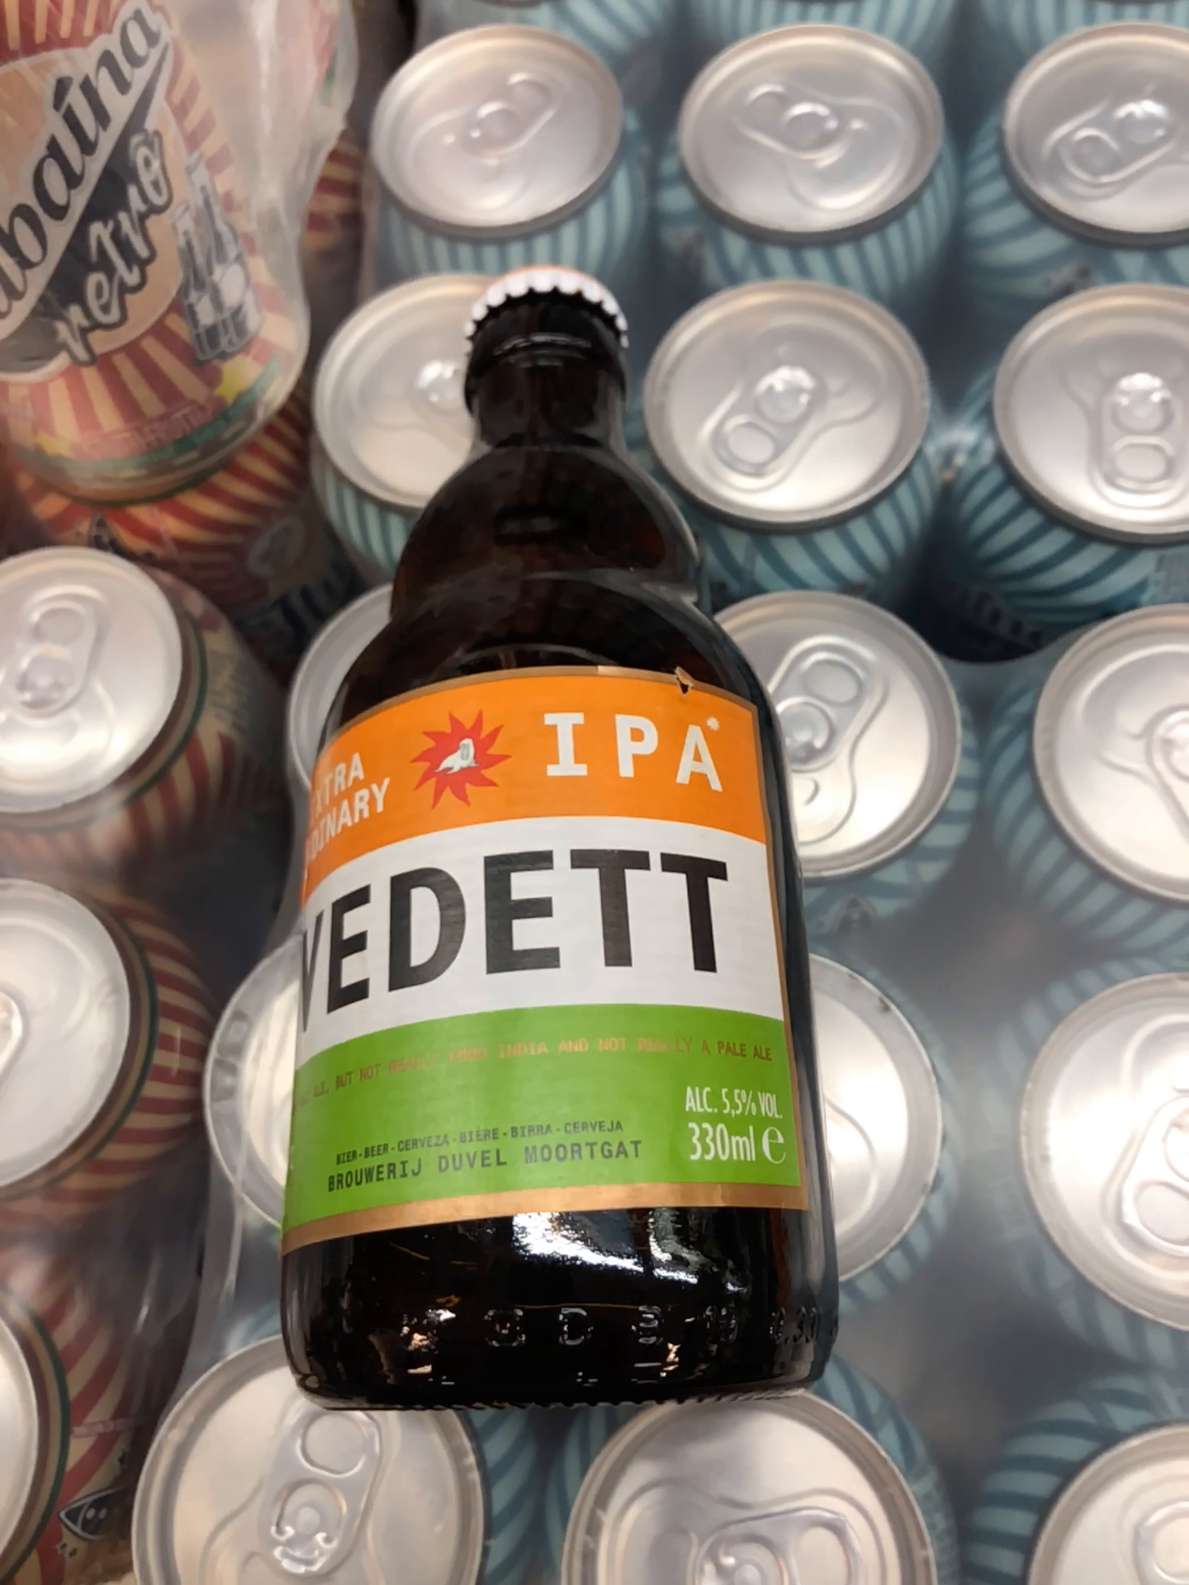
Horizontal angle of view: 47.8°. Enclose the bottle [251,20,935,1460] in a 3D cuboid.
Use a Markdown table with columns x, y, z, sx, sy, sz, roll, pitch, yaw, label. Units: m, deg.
| x | y | z | sx | sy | sz | roll | pitch | yaw | label |
| --- | --- | --- | --- | --- | --- | --- | --- | --- | --- |
| -0.002 | -0.013 | 0.197 | 0.070 | 0.060 | 0.190 | -5 | 70 | 4 | bottle |
